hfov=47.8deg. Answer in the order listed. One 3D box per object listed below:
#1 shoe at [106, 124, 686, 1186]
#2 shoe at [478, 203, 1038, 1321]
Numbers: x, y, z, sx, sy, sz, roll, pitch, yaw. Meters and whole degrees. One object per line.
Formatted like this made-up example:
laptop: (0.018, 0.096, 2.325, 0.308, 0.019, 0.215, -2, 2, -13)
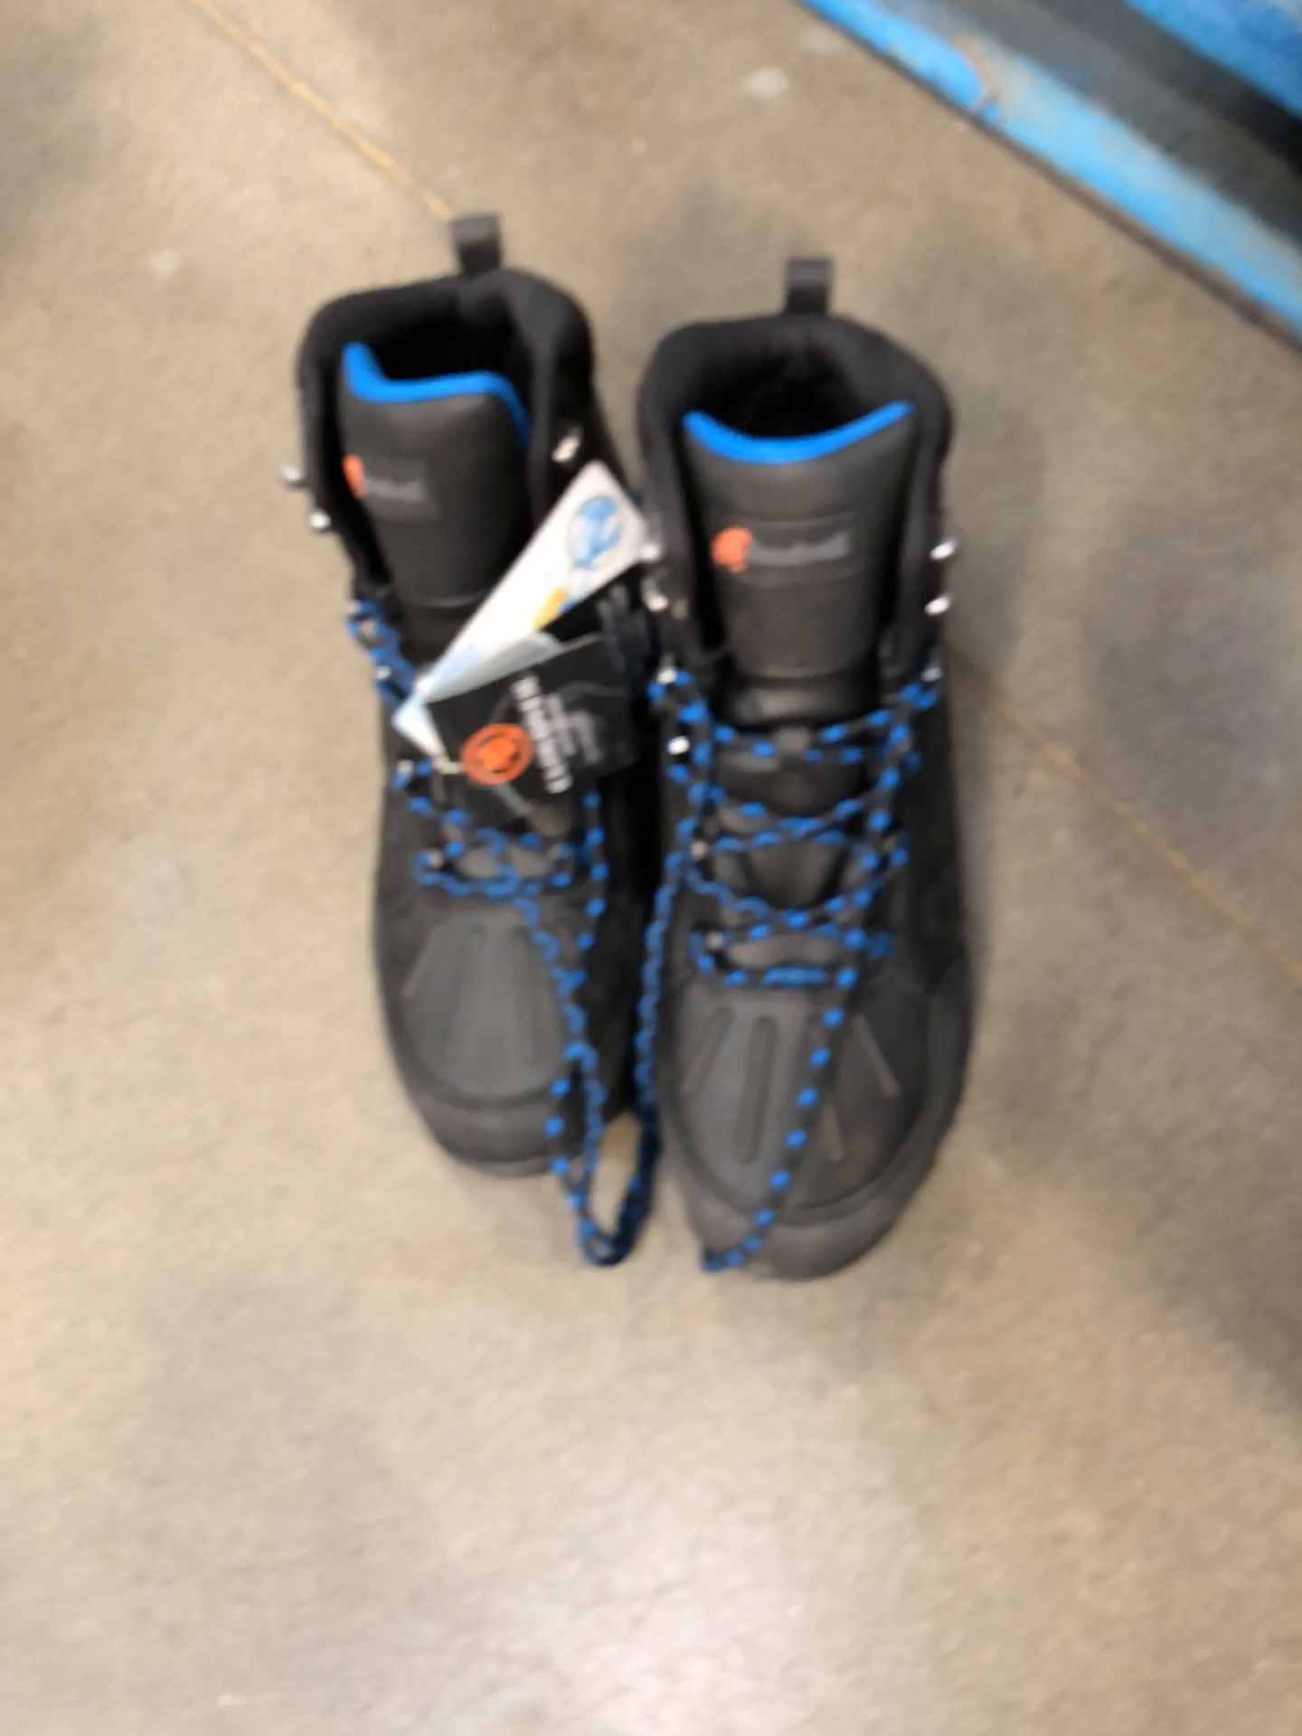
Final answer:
shoe: (-0.062, -0.056, 0.516, 0.120, 0.210, 0.300, -2, 69, 8)
shoe: (0.051, -0.020, 0.484, 0.120, 0.210, 0.300, 4, 70, 10)
